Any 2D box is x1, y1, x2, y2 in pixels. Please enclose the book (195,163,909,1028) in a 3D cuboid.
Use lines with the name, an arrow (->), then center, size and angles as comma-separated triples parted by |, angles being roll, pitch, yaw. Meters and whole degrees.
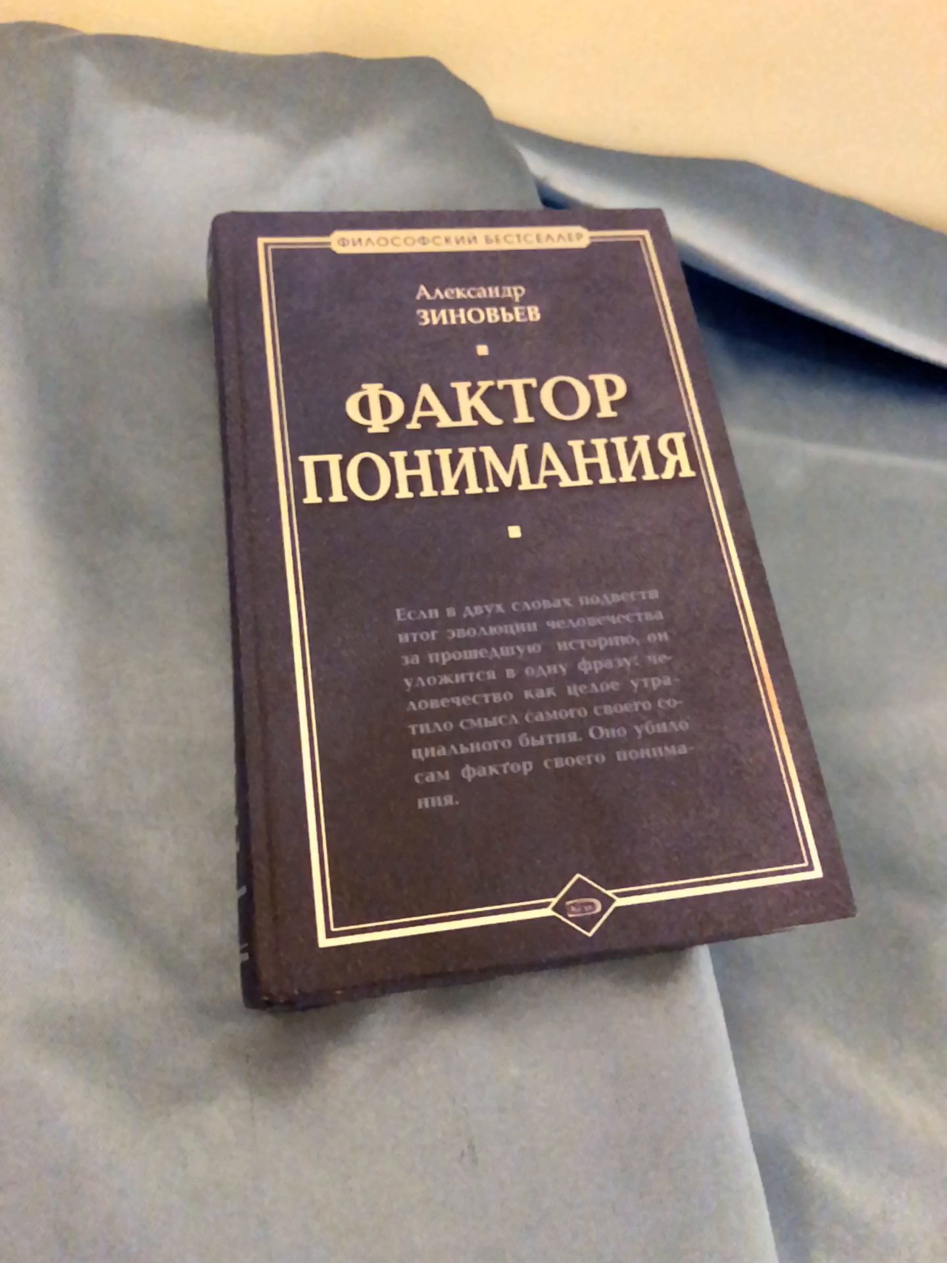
book -> 0.006, -0.025, 0.275 | 0.140, 0.040, 0.221 | -5, 66, -9
